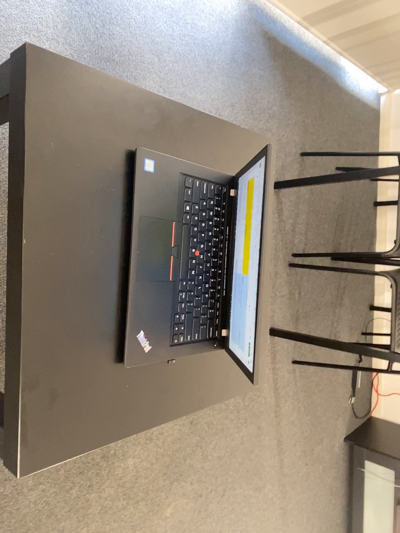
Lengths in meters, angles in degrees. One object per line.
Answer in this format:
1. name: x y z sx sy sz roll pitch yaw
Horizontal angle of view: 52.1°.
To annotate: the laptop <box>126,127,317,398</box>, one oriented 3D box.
1. laptop: 0.038 -0.006 0.635 0.224 0.165 0.331 2 92 -45
